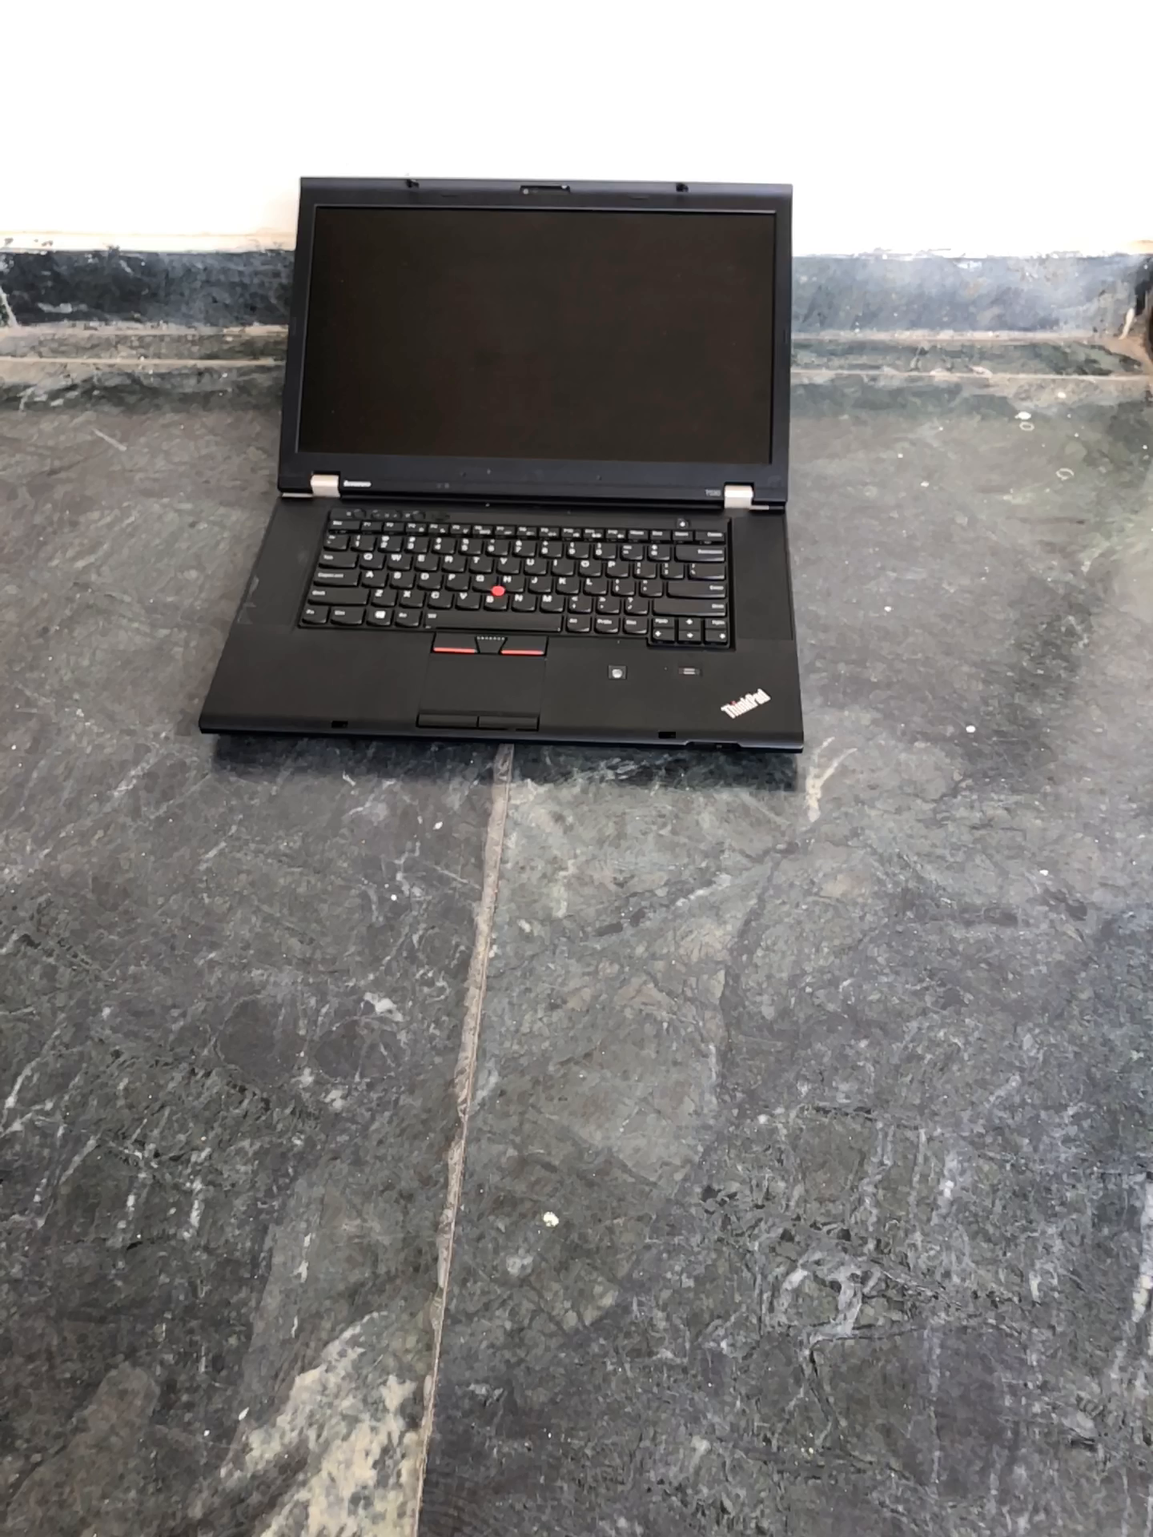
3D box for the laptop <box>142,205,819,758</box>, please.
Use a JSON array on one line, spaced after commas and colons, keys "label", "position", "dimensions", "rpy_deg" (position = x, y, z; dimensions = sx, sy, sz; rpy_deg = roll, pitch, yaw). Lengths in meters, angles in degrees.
[{"label": "laptop", "position": [-0.032, -0.189, 0.749], "dimensions": [0.311, 0.115, 0.377], "rpy_deg": [2, 48, 3]}]
